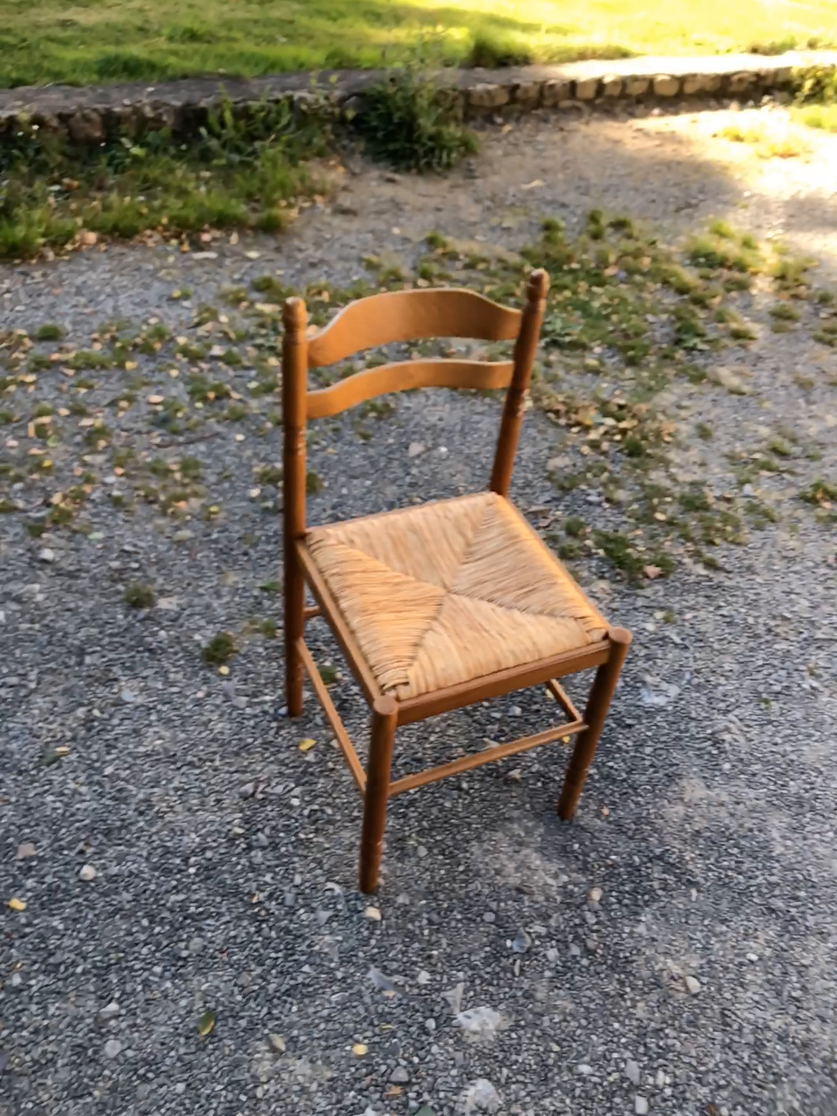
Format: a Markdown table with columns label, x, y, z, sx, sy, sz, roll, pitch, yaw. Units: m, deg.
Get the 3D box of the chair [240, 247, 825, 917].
| label | x | y | z | sx | sy | sz | roll | pitch | yaw |
| --- | --- | --- | --- | --- | --- | --- | --- | --- | --- |
| chair | 0.070 | 0.029 | 1.345 | 0.512 | 0.735 | 0.522 | -12 | 47 | -24 |
